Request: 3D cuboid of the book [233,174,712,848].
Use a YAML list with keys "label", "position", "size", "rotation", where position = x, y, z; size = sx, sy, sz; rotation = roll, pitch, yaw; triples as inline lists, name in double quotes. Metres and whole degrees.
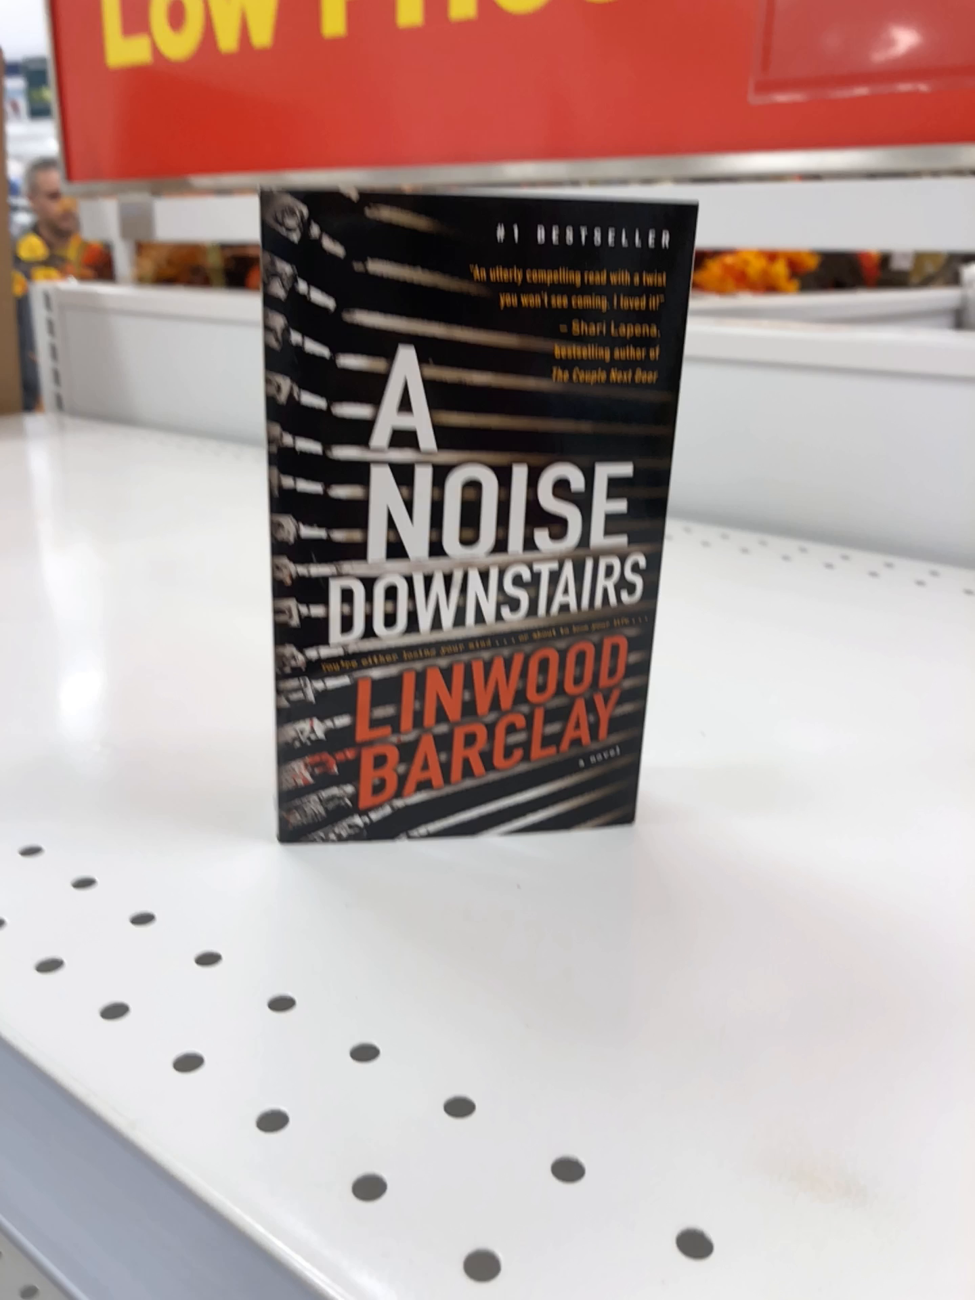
- label: "book"
  position: [-0.006, -0.034, 0.296]
  size: [0.110, 0.170, 0.041]
  rotation: [-1, 20, -7]
